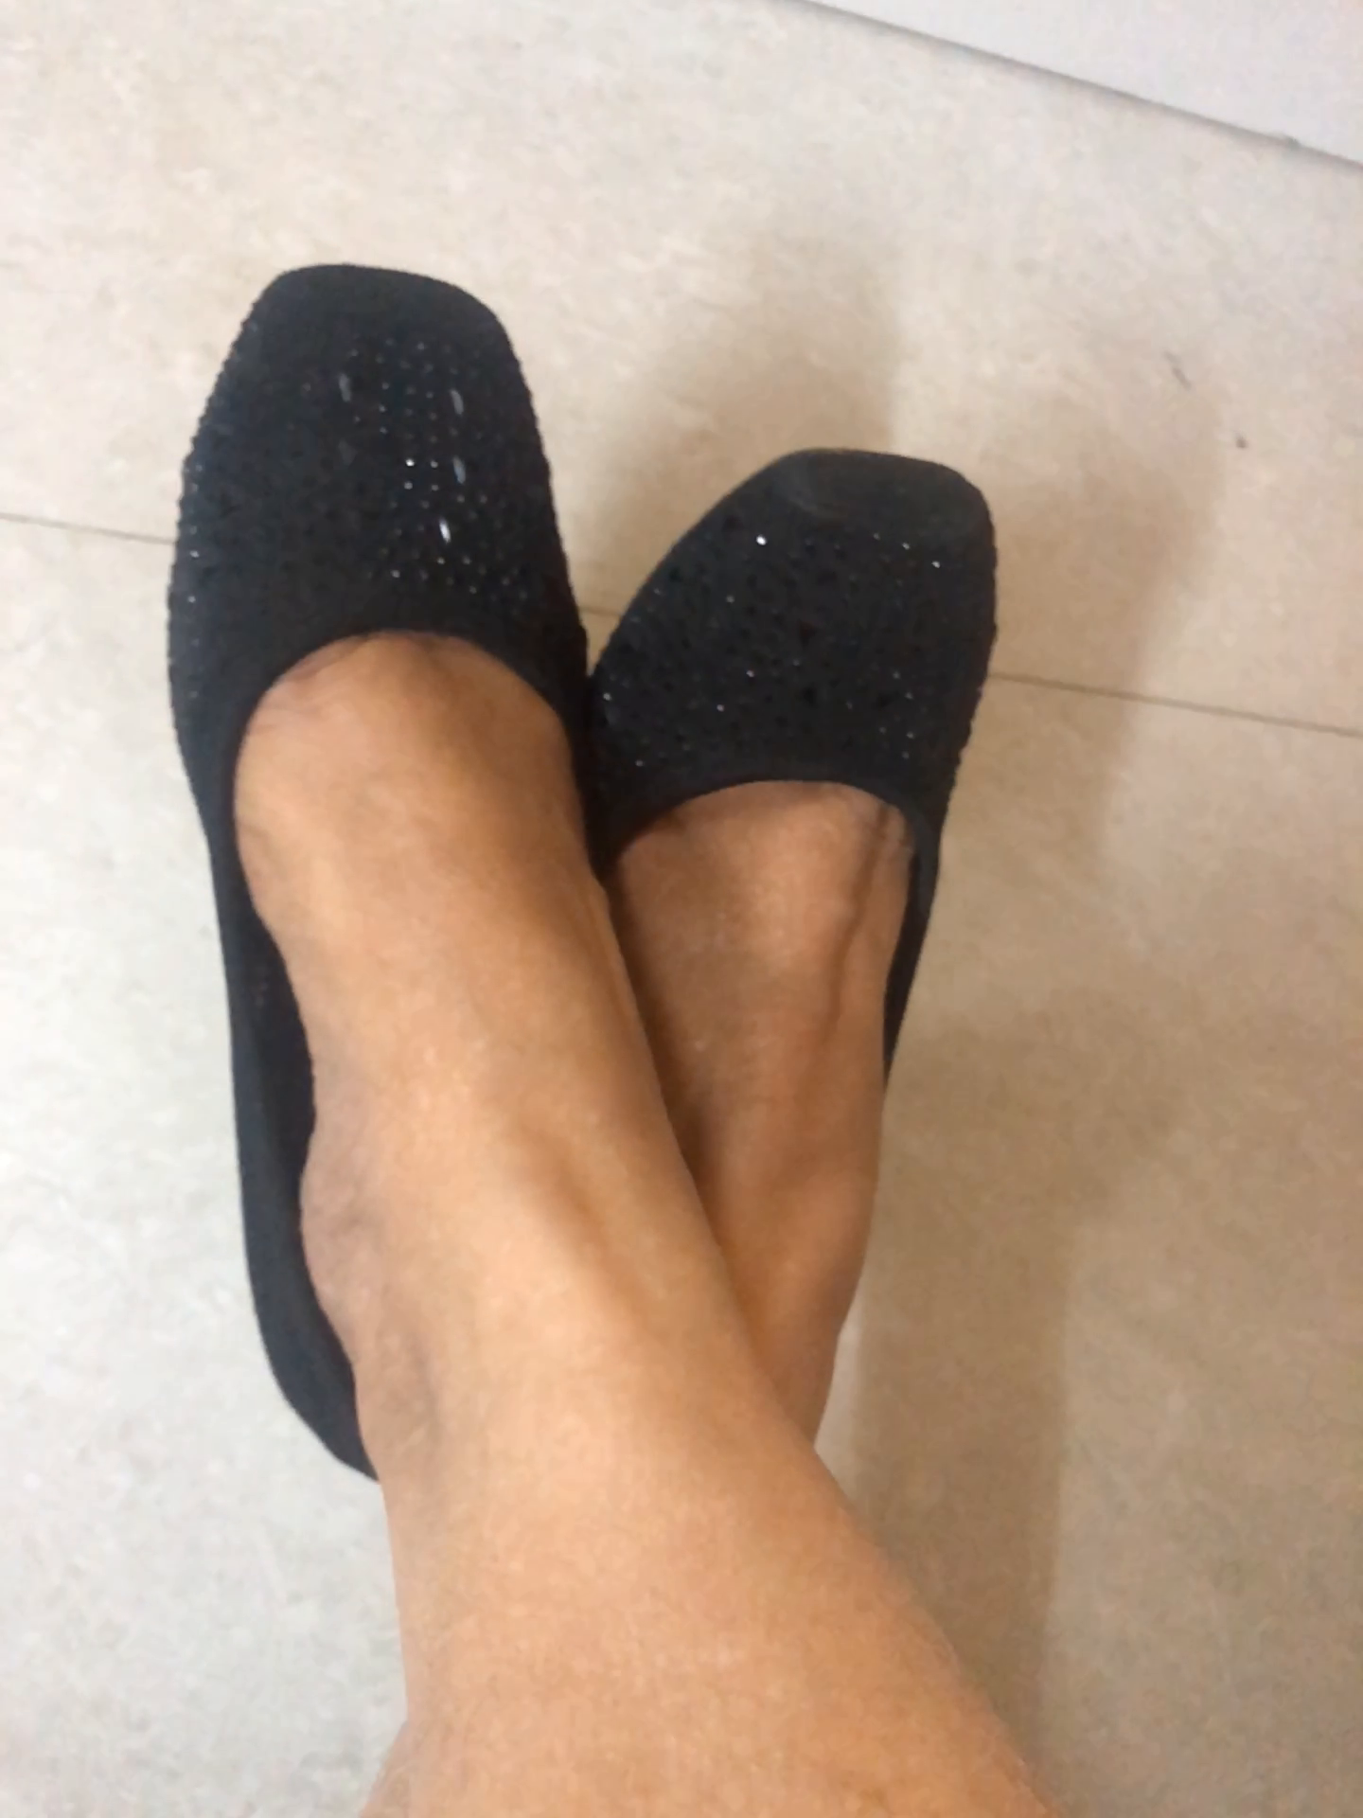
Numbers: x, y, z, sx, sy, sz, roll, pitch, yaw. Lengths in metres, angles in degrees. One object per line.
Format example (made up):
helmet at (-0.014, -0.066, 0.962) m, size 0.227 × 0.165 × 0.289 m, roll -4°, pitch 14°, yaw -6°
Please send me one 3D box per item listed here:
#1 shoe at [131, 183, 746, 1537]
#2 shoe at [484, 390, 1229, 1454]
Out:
shoe at (-0.056, -0.005, 0.337) m, size 0.100 × 0.070 × 0.270 m, roll -6°, pitch 113°, yaw -24°
shoe at (0.025, 0.016, 0.361) m, size 0.100 × 0.070 × 0.240 m, roll 6°, pitch 117°, yaw -16°
